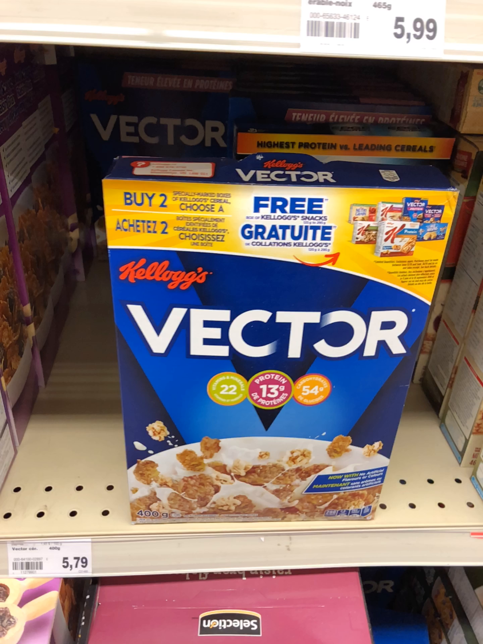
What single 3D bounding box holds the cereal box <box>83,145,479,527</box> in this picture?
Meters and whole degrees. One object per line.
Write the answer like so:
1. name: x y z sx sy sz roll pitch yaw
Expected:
1. cereal box: 0.014 0.027 0.365 0.200 0.268 0.060 1 33 -4
